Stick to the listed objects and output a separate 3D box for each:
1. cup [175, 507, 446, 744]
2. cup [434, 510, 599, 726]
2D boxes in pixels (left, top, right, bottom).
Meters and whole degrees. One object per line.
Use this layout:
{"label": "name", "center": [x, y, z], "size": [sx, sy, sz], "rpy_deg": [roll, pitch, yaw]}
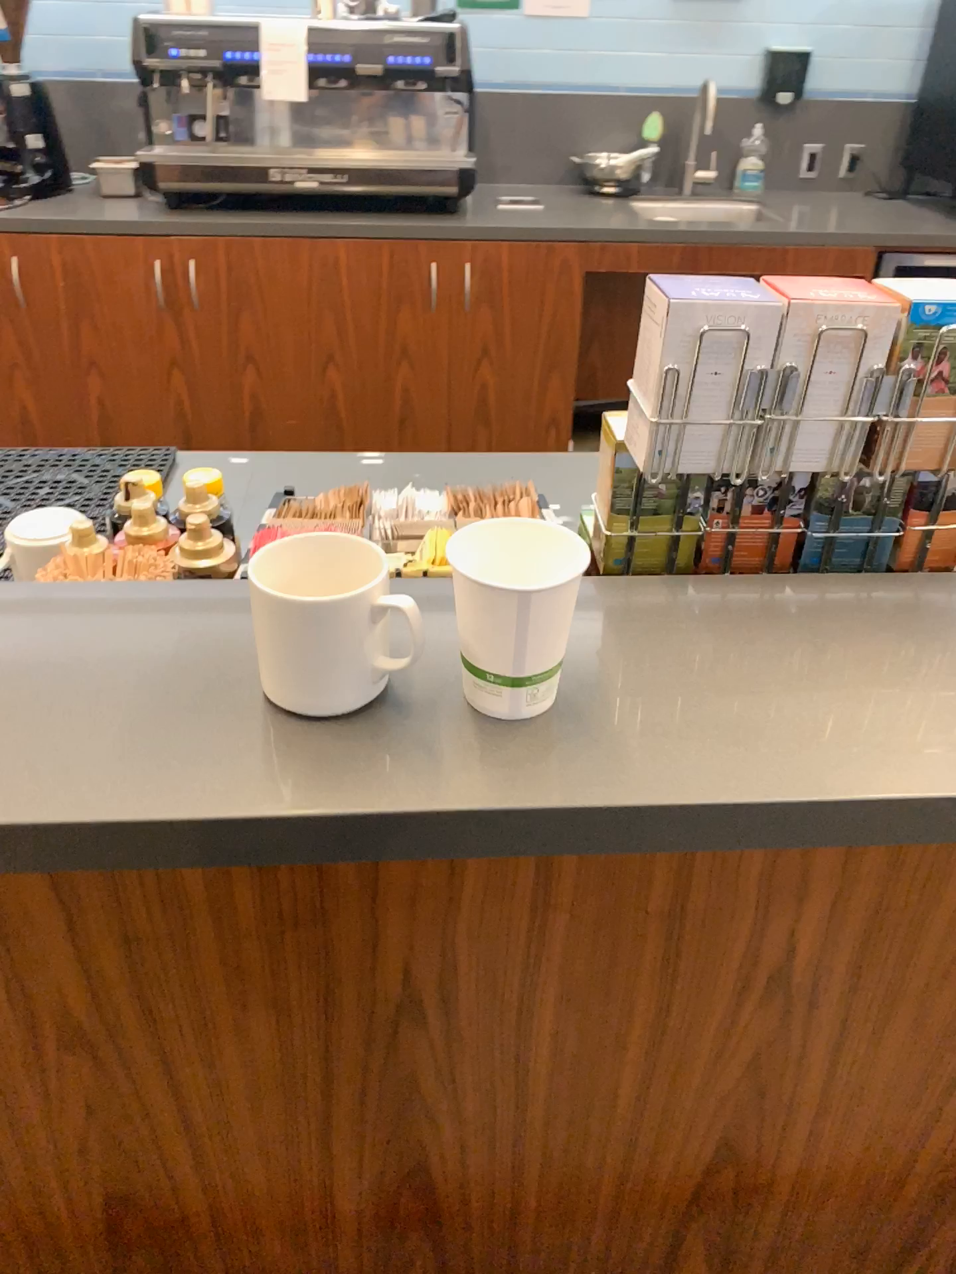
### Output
{"label": "cup", "center": [-0.096, -0.010, 0.594], "size": [0.130, 0.089, 0.090], "rpy_deg": [10, 34, 13]}
{"label": "cup", "center": [0.020, -0.013, 0.628], "size": [0.090, 0.109, 0.081], "rpy_deg": [-2, 33, -6]}
